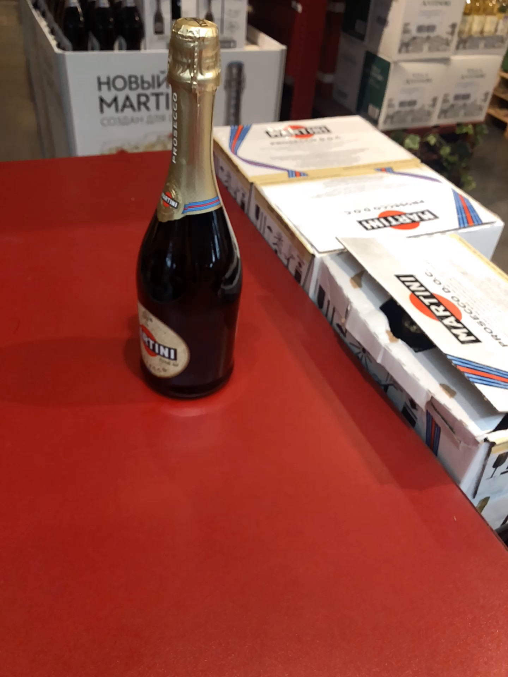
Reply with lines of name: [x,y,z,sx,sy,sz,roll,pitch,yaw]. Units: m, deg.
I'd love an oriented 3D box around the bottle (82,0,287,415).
bottle: [-0.056,-0.090,0.450,0.090,0.302,0.100,-22,48,-29]
